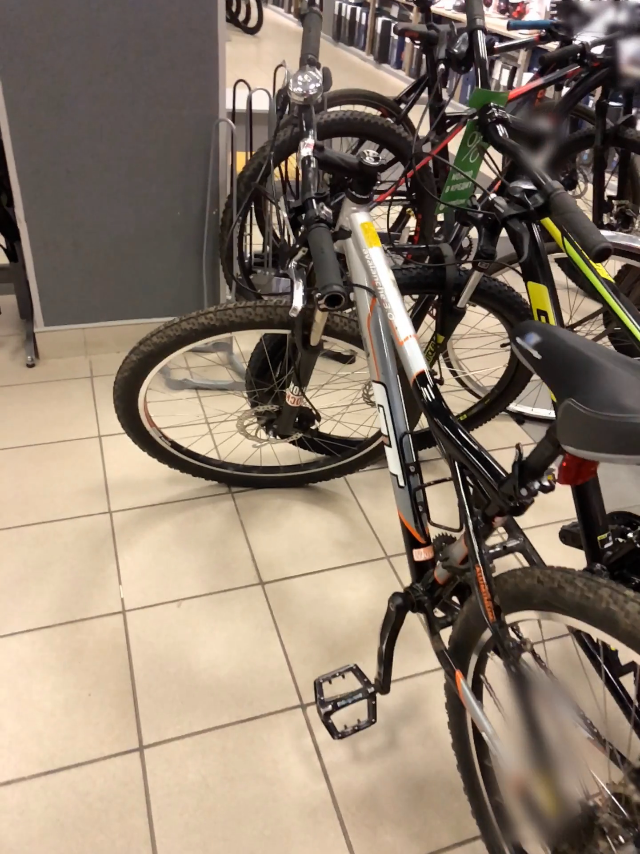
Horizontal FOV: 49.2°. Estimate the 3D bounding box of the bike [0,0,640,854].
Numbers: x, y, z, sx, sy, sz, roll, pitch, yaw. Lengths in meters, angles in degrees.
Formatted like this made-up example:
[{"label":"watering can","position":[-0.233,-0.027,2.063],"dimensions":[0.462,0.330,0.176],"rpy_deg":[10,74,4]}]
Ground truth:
[{"label":"bike","position":[0.096,0.103,0.896],"dimensions":[0.626,1.012,1.429],"rpy_deg":[-22,46,-33]}]
